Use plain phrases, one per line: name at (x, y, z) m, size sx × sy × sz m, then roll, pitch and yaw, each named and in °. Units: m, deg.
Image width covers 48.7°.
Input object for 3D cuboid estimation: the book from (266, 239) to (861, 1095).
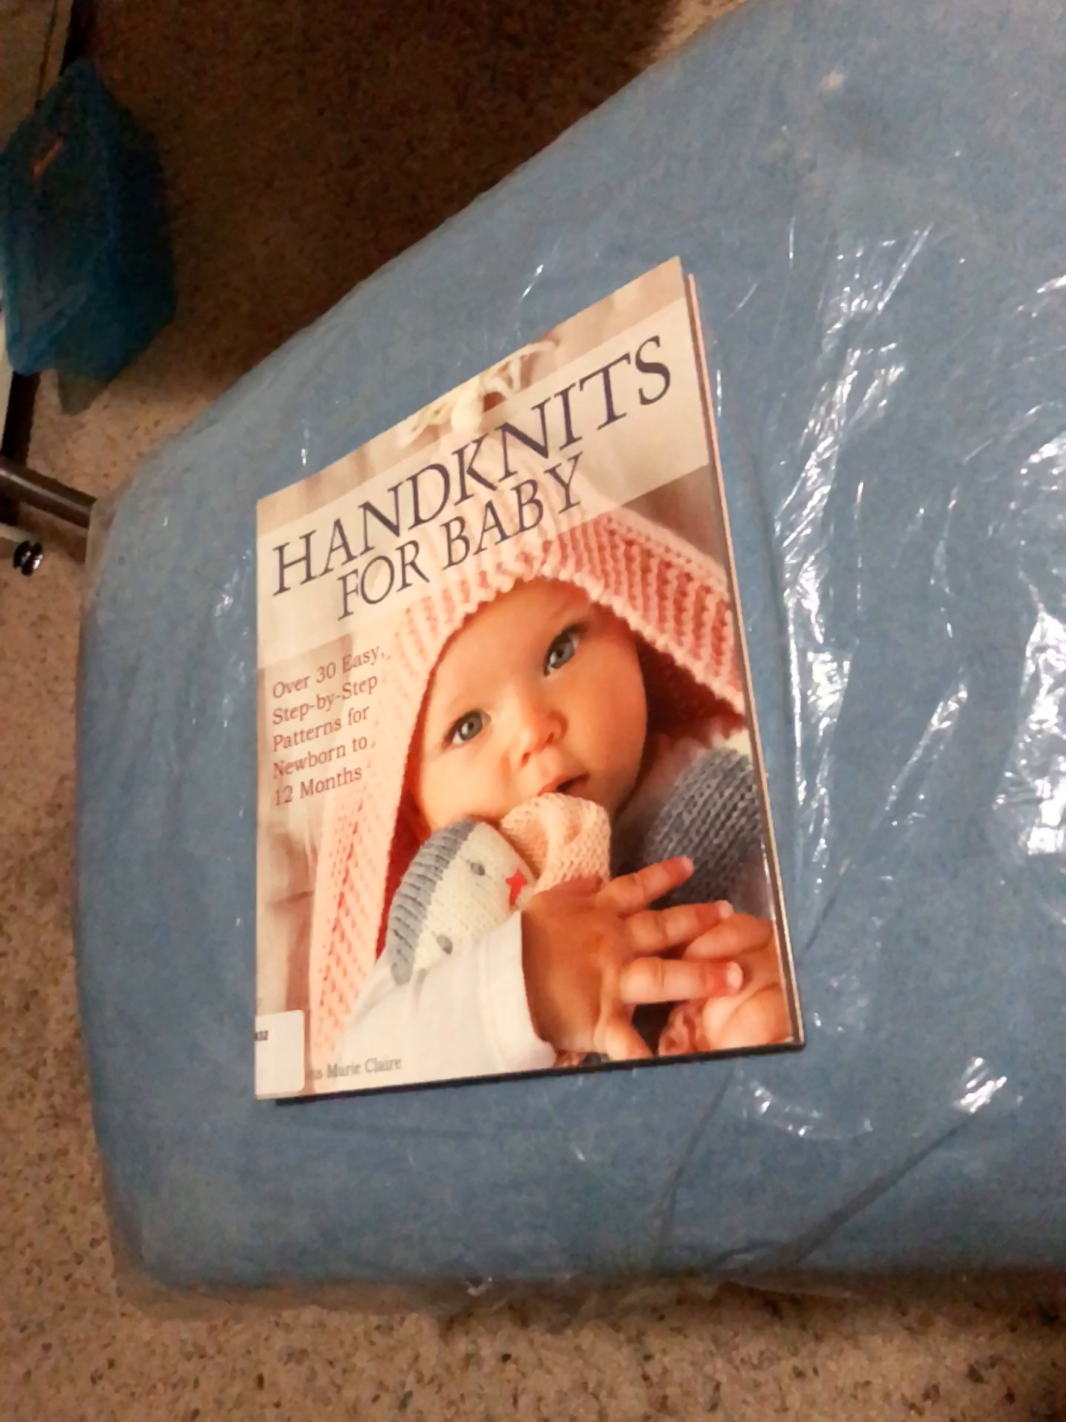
book at (-0.012, -0.003, 0.367) m, size 0.198 × 0.020 × 0.220 m, roll -19°, pitch 67°, yaw 36°
